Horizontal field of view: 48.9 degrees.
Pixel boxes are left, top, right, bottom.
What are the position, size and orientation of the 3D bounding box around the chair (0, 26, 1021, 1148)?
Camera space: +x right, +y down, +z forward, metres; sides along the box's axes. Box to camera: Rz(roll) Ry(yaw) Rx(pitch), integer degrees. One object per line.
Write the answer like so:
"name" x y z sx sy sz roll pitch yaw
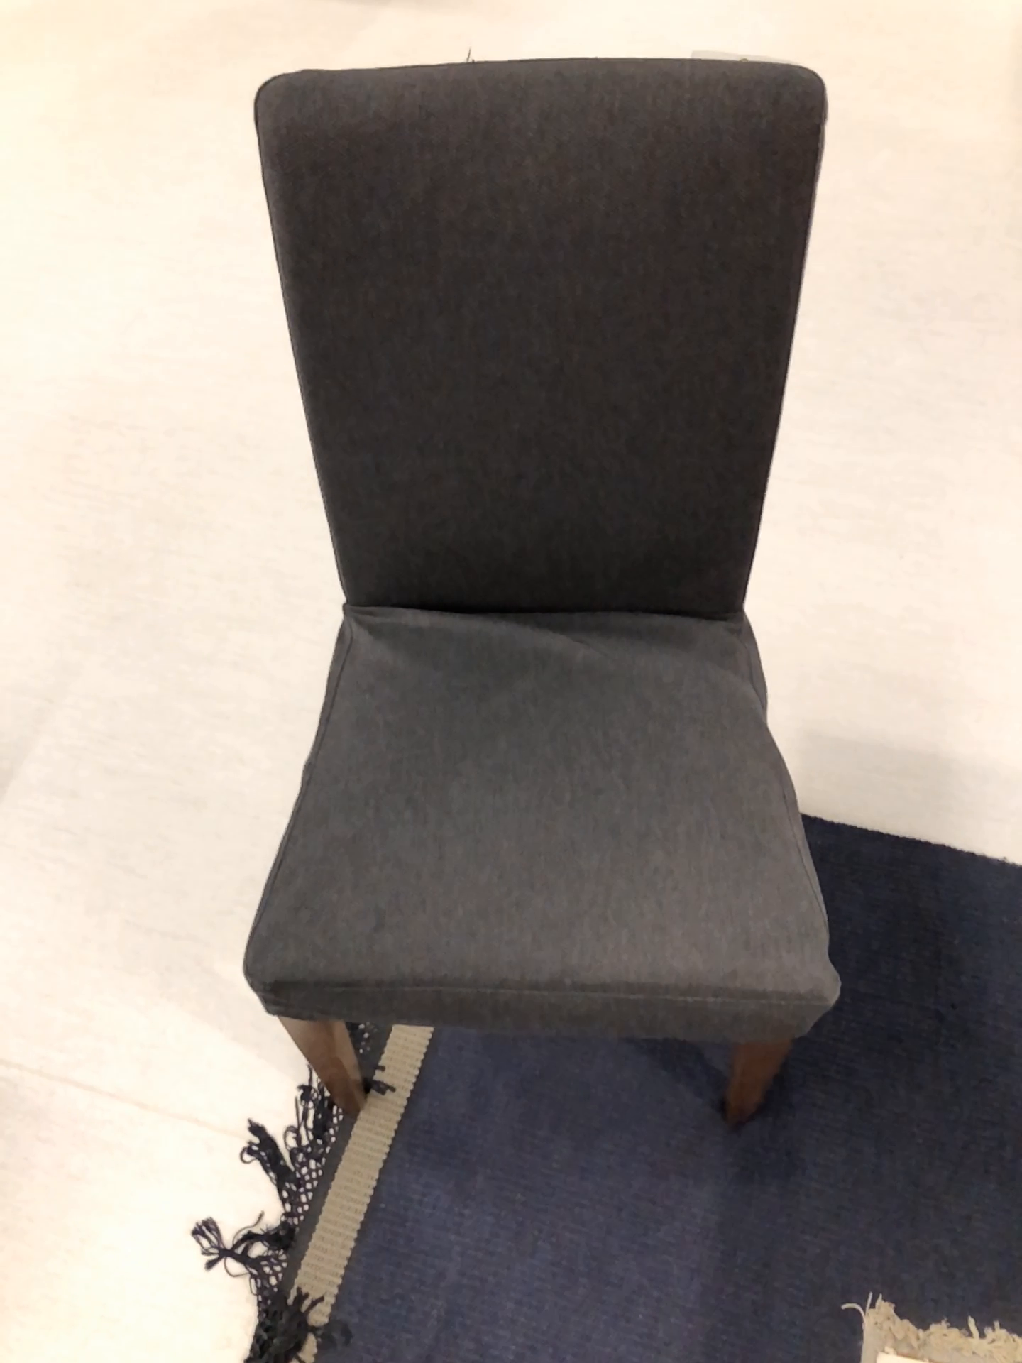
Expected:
"chair" 0.025 0.024 1.060 0.540 0.965 0.553 2 56 4
